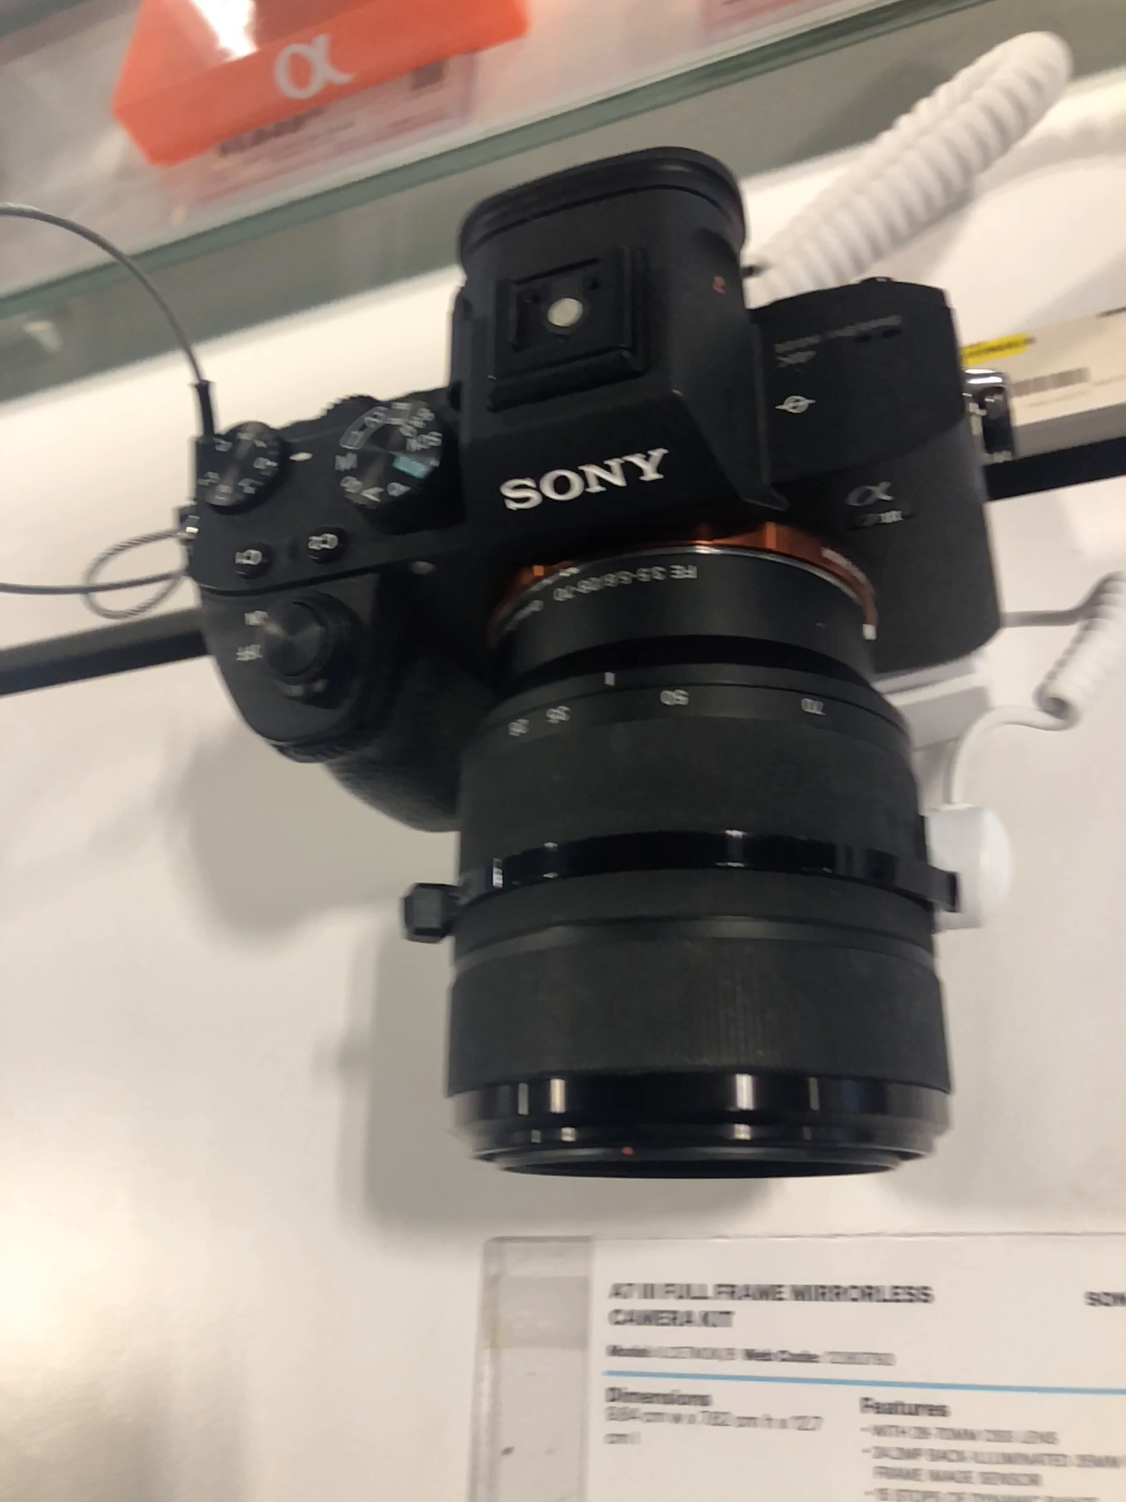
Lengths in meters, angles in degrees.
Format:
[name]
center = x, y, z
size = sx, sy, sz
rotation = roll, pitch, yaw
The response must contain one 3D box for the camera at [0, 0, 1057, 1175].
[camera]
center = 0.001, -0.011, 0.195
size = 0.120, 0.099, 0.130
rotation = -9, 62, 20
